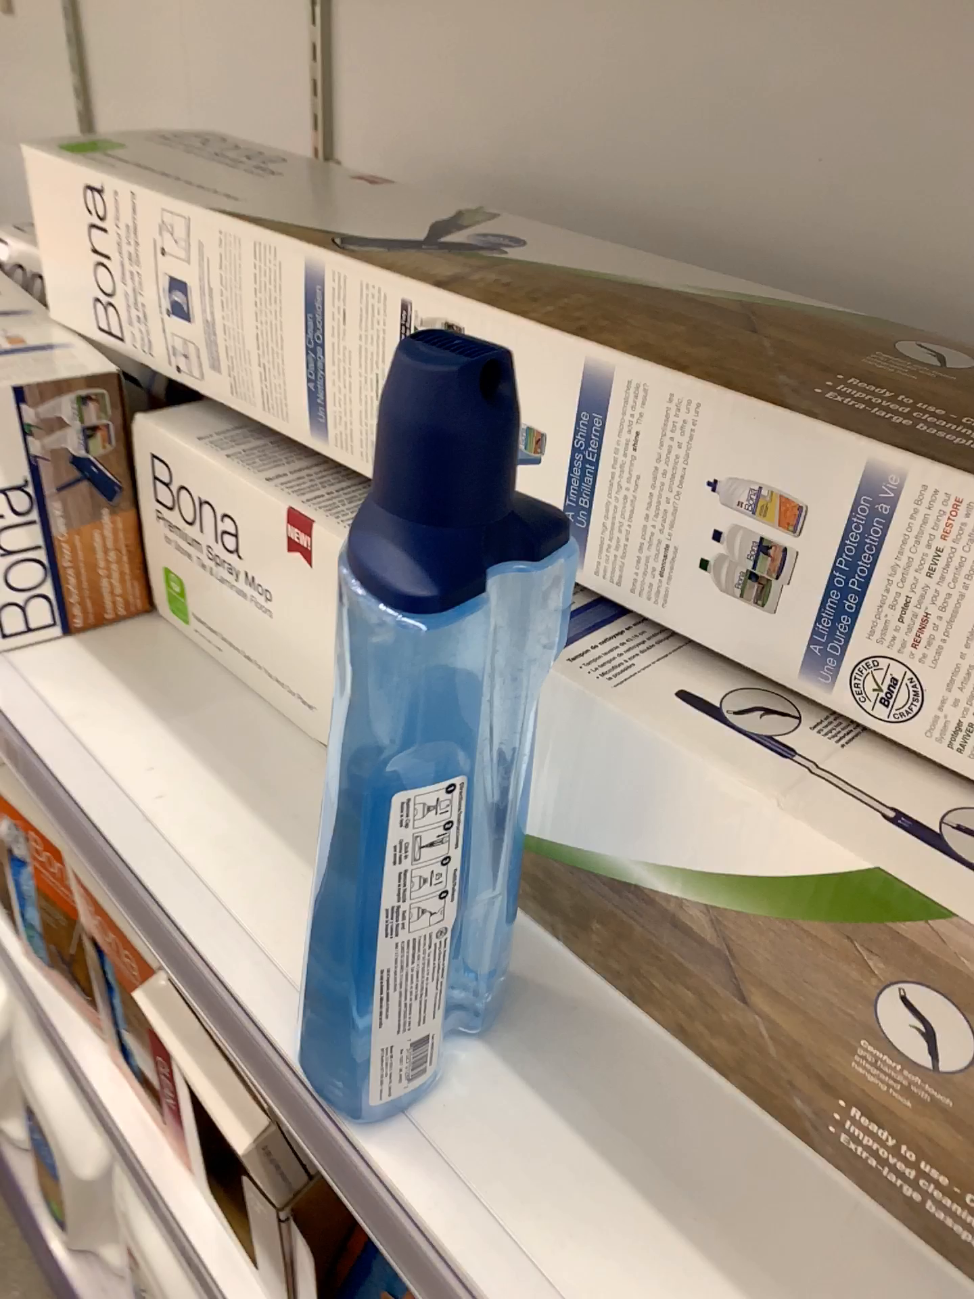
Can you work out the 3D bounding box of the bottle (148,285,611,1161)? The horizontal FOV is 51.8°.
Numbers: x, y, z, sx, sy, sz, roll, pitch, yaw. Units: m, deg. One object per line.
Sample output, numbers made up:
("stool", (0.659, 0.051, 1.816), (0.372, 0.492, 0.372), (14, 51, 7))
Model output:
("bottle", (-0.035, 0.034, 0.346), (0.080, 0.279, 0.100), (22, 36, 25))
